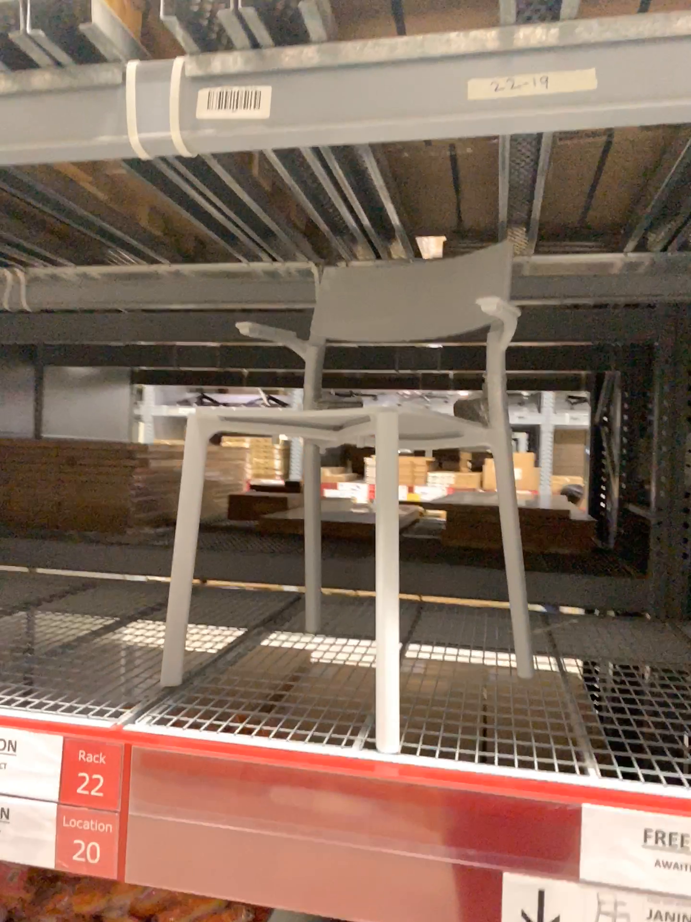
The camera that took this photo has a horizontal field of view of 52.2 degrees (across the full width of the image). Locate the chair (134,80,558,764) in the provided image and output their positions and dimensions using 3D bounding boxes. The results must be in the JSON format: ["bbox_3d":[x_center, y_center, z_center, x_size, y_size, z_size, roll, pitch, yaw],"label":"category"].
[{"bbox_3d":[0.034,-0.053,1.205,0.480,0.820,0.550,2,0,32],"label":"chair"}]
